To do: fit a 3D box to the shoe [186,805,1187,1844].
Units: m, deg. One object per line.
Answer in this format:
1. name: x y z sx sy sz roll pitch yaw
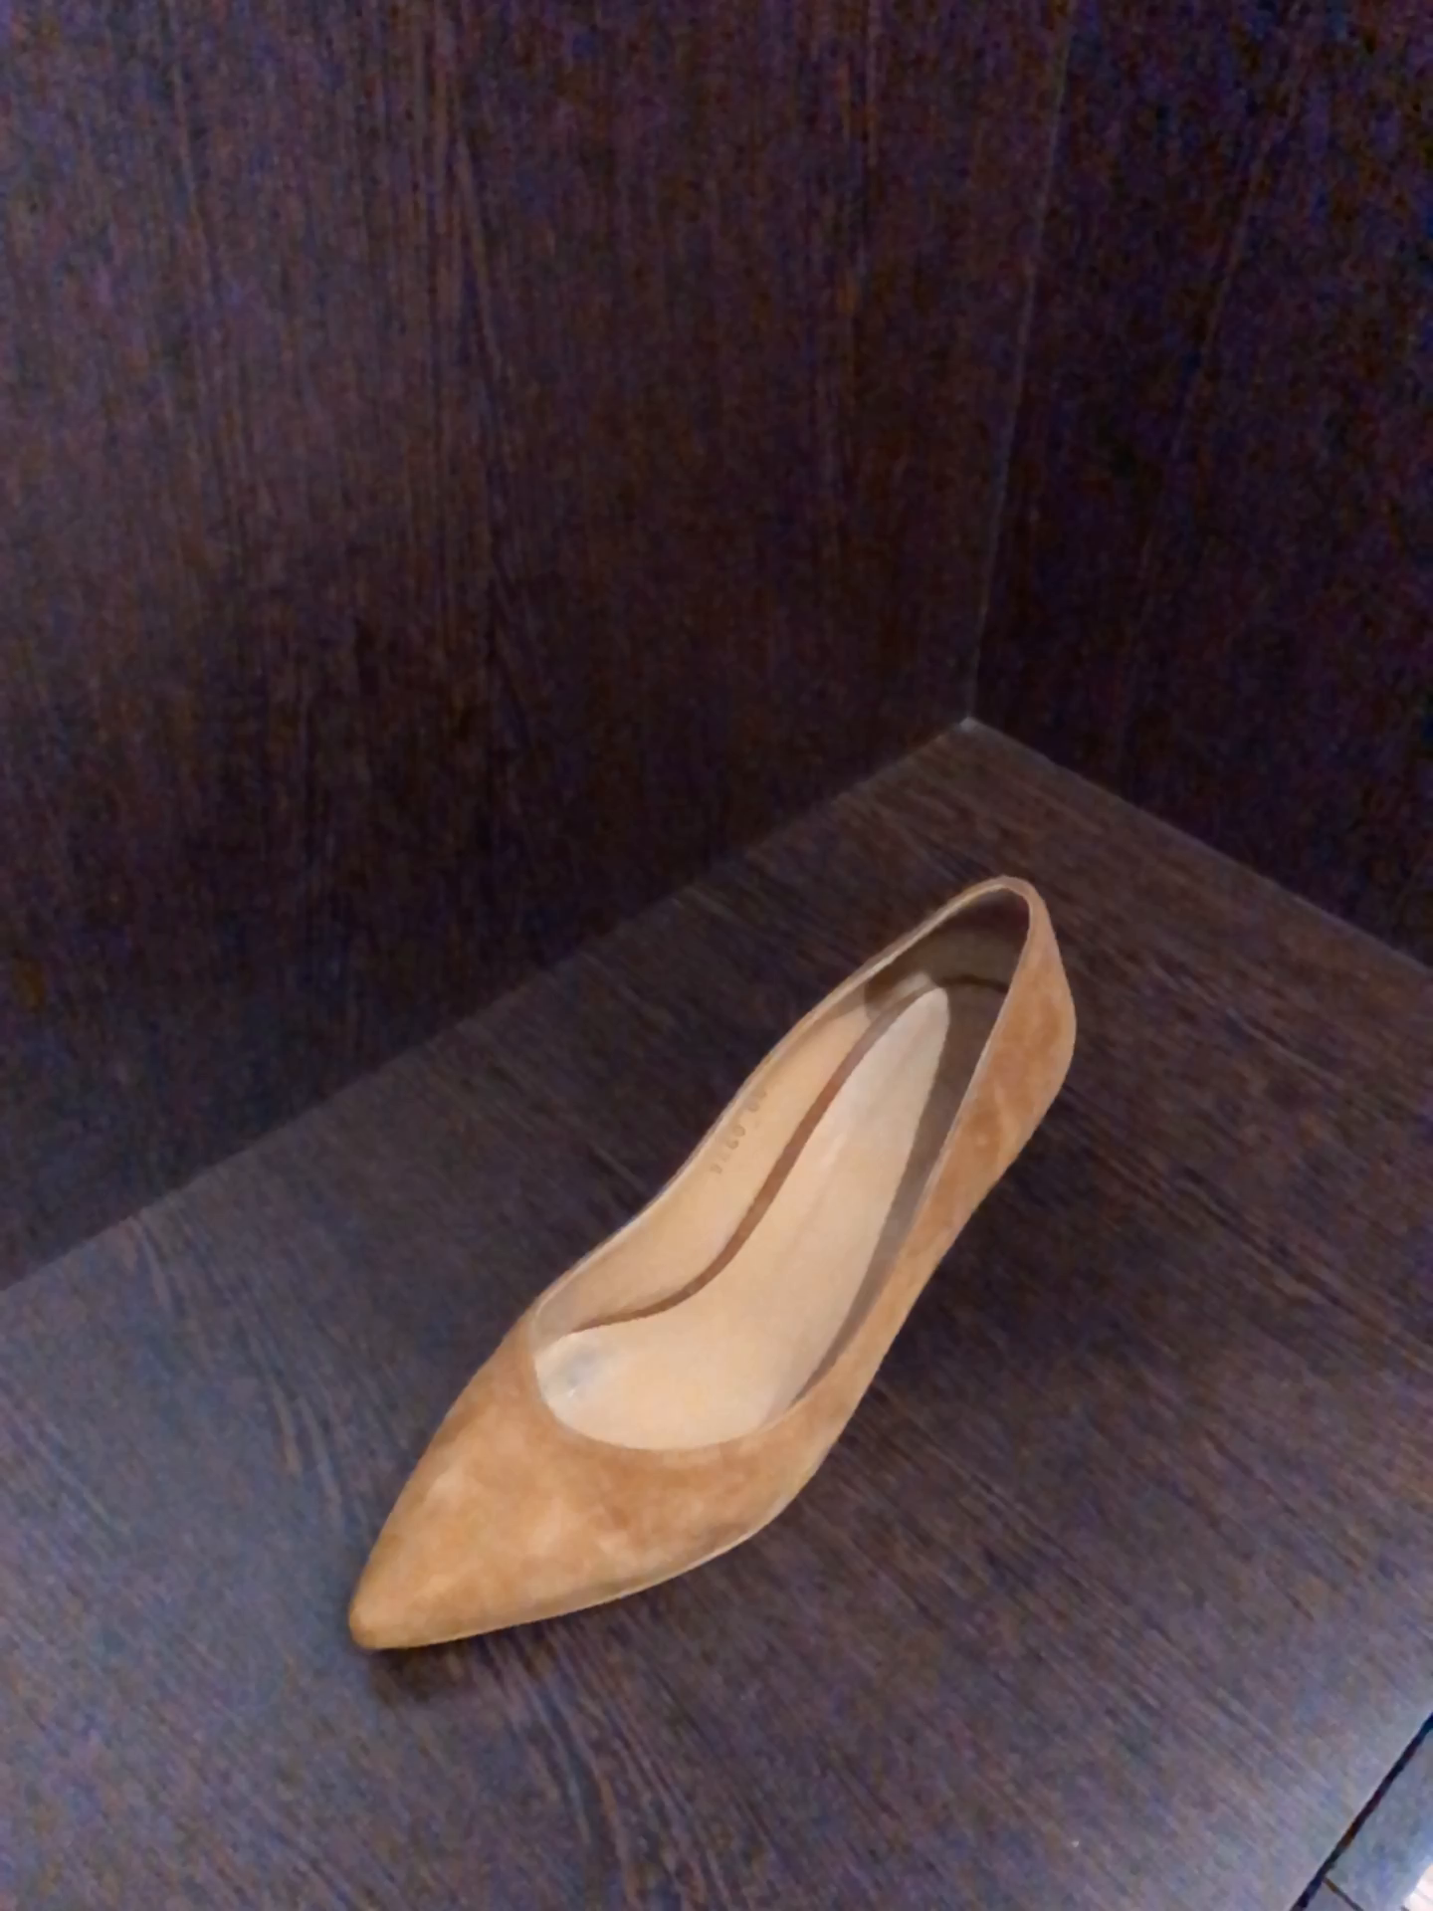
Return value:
1. shoe: 0.009 0.078 0.426 0.090 0.100 0.271 31 50 29
